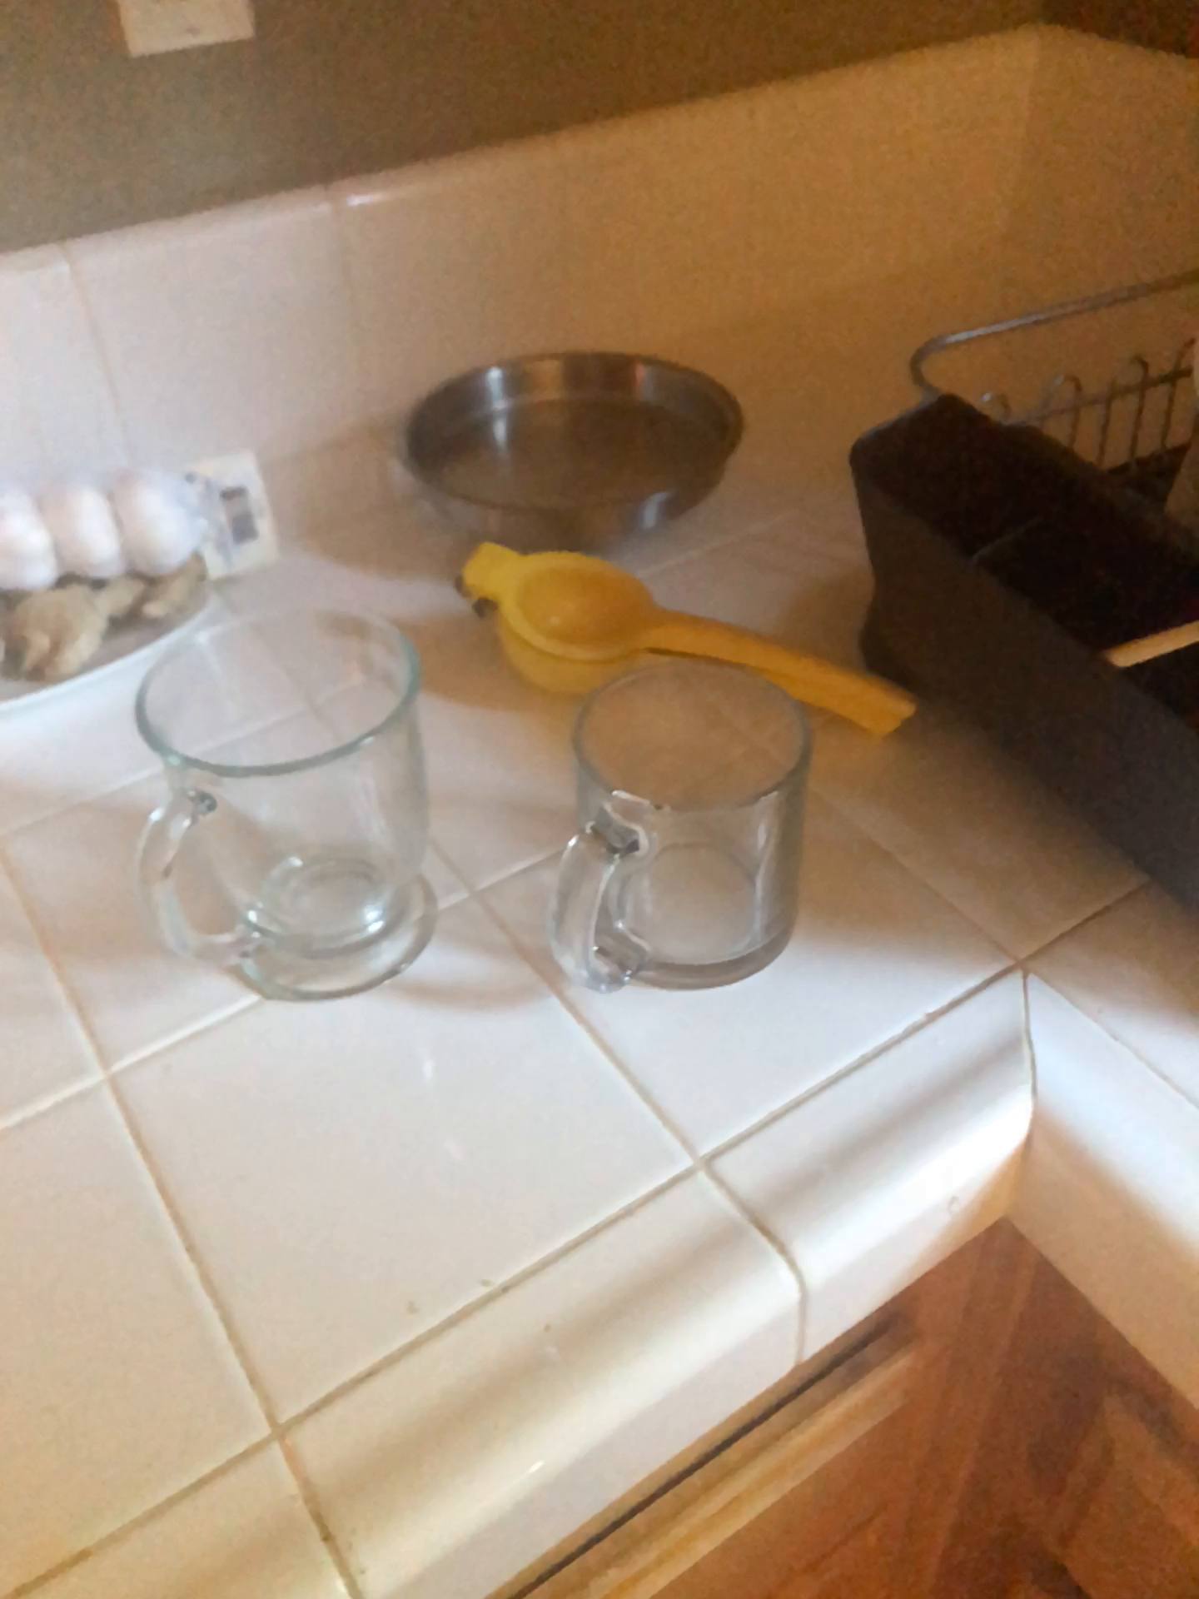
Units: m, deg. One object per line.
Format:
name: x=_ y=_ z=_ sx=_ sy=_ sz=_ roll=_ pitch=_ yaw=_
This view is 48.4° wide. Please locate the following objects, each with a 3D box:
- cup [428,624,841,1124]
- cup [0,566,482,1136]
cup: x=0.017 y=0.024 z=0.492 sx=0.090 sy=0.109 sz=0.121 roll=23 pitch=48 yaw=26
cup: x=-0.116 y=0.016 z=0.483 sx=0.090 sy=0.139 sz=0.131 roll=12 pitch=44 yaw=16
